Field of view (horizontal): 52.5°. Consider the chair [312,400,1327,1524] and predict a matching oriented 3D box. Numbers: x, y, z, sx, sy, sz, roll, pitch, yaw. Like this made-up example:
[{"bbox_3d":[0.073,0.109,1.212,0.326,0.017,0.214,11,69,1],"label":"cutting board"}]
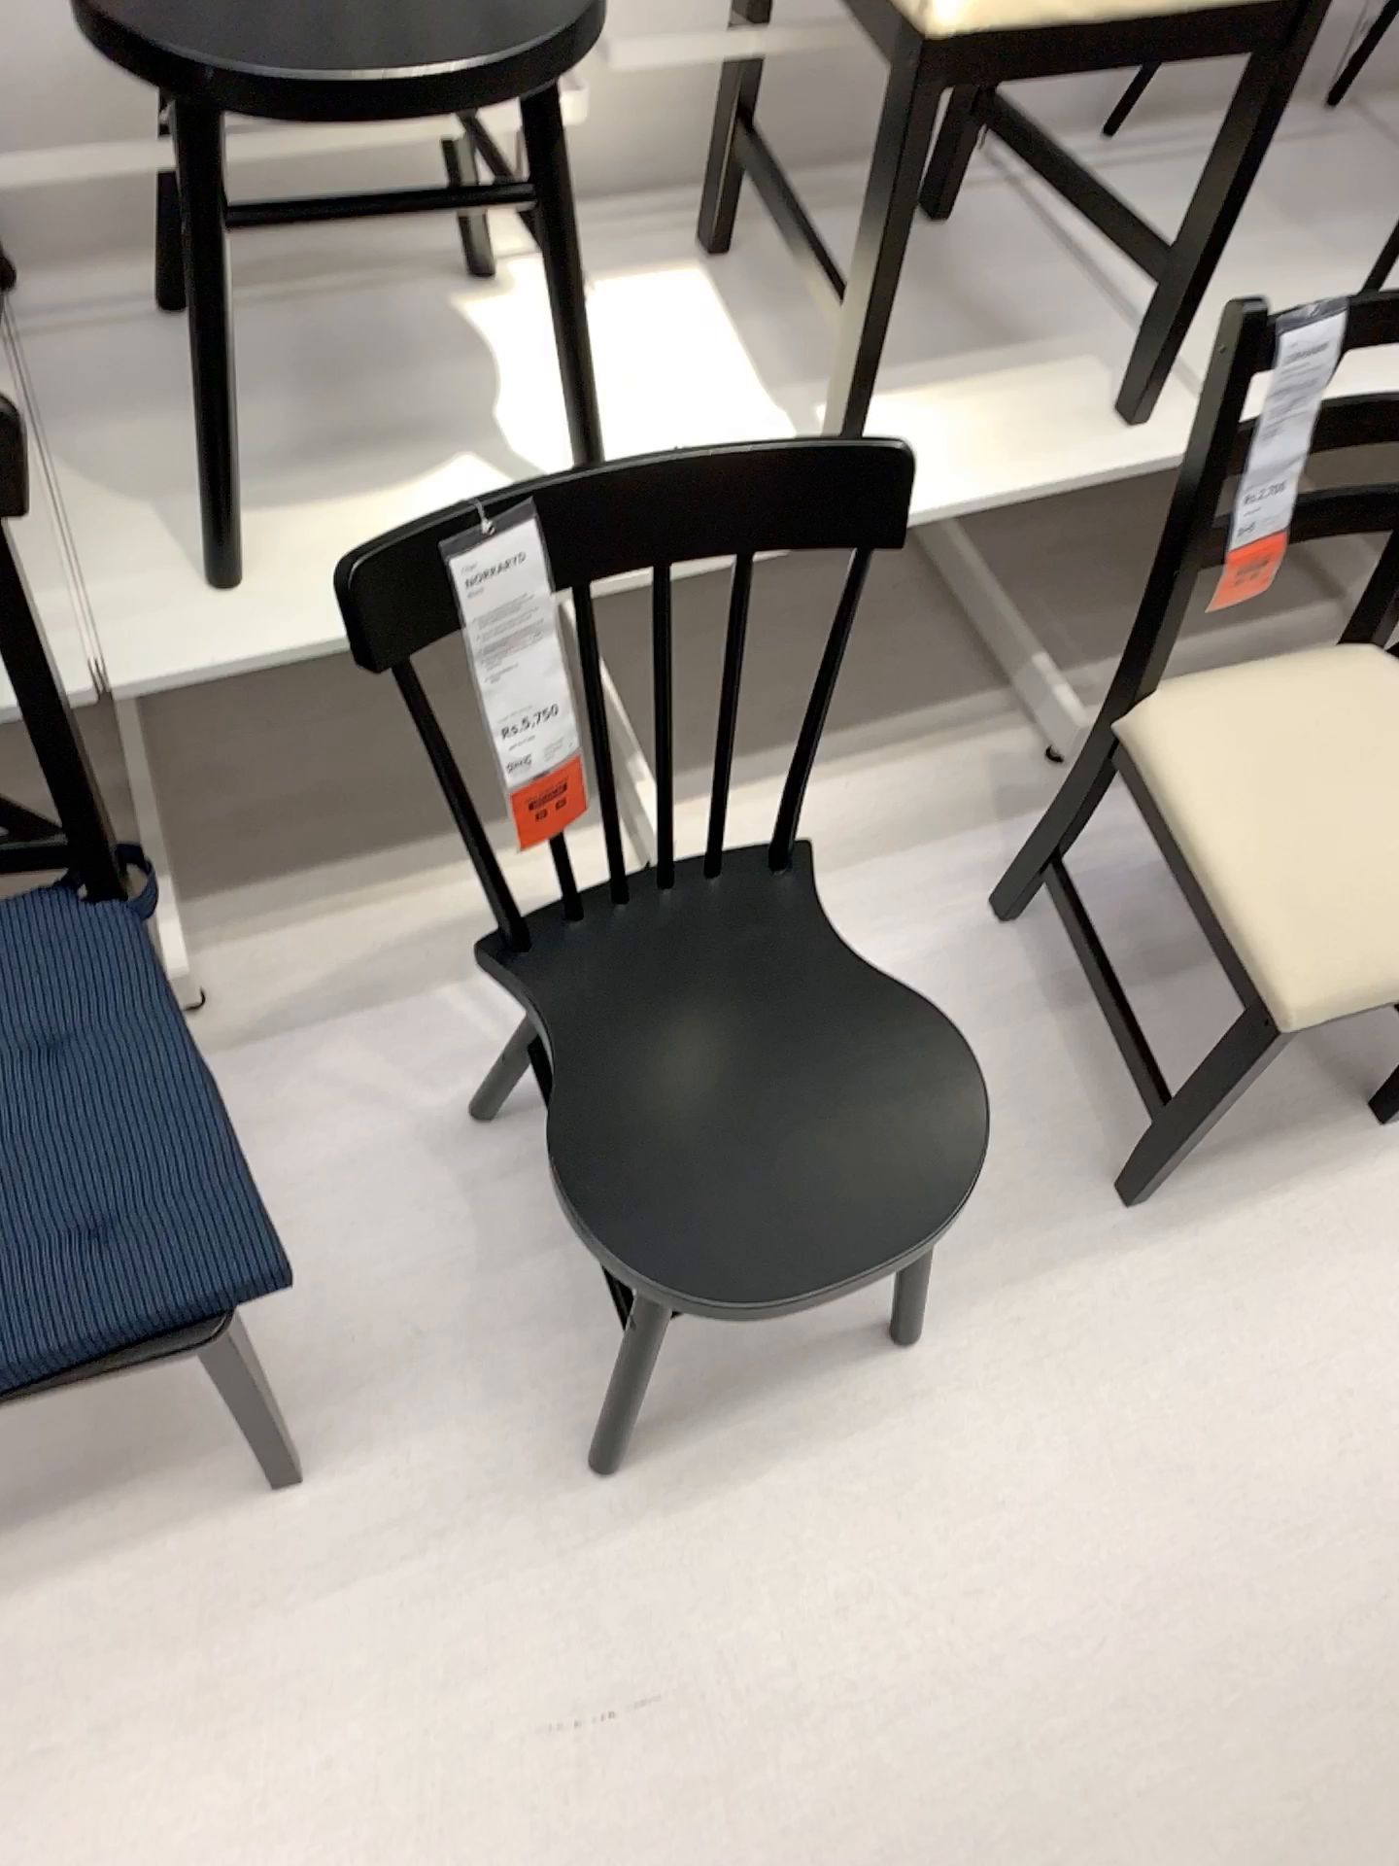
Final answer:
[{"bbox_3d":[0.018,0.077,1.225,0.470,0.788,0.521,-17,60,-17],"label":"chair"}]
